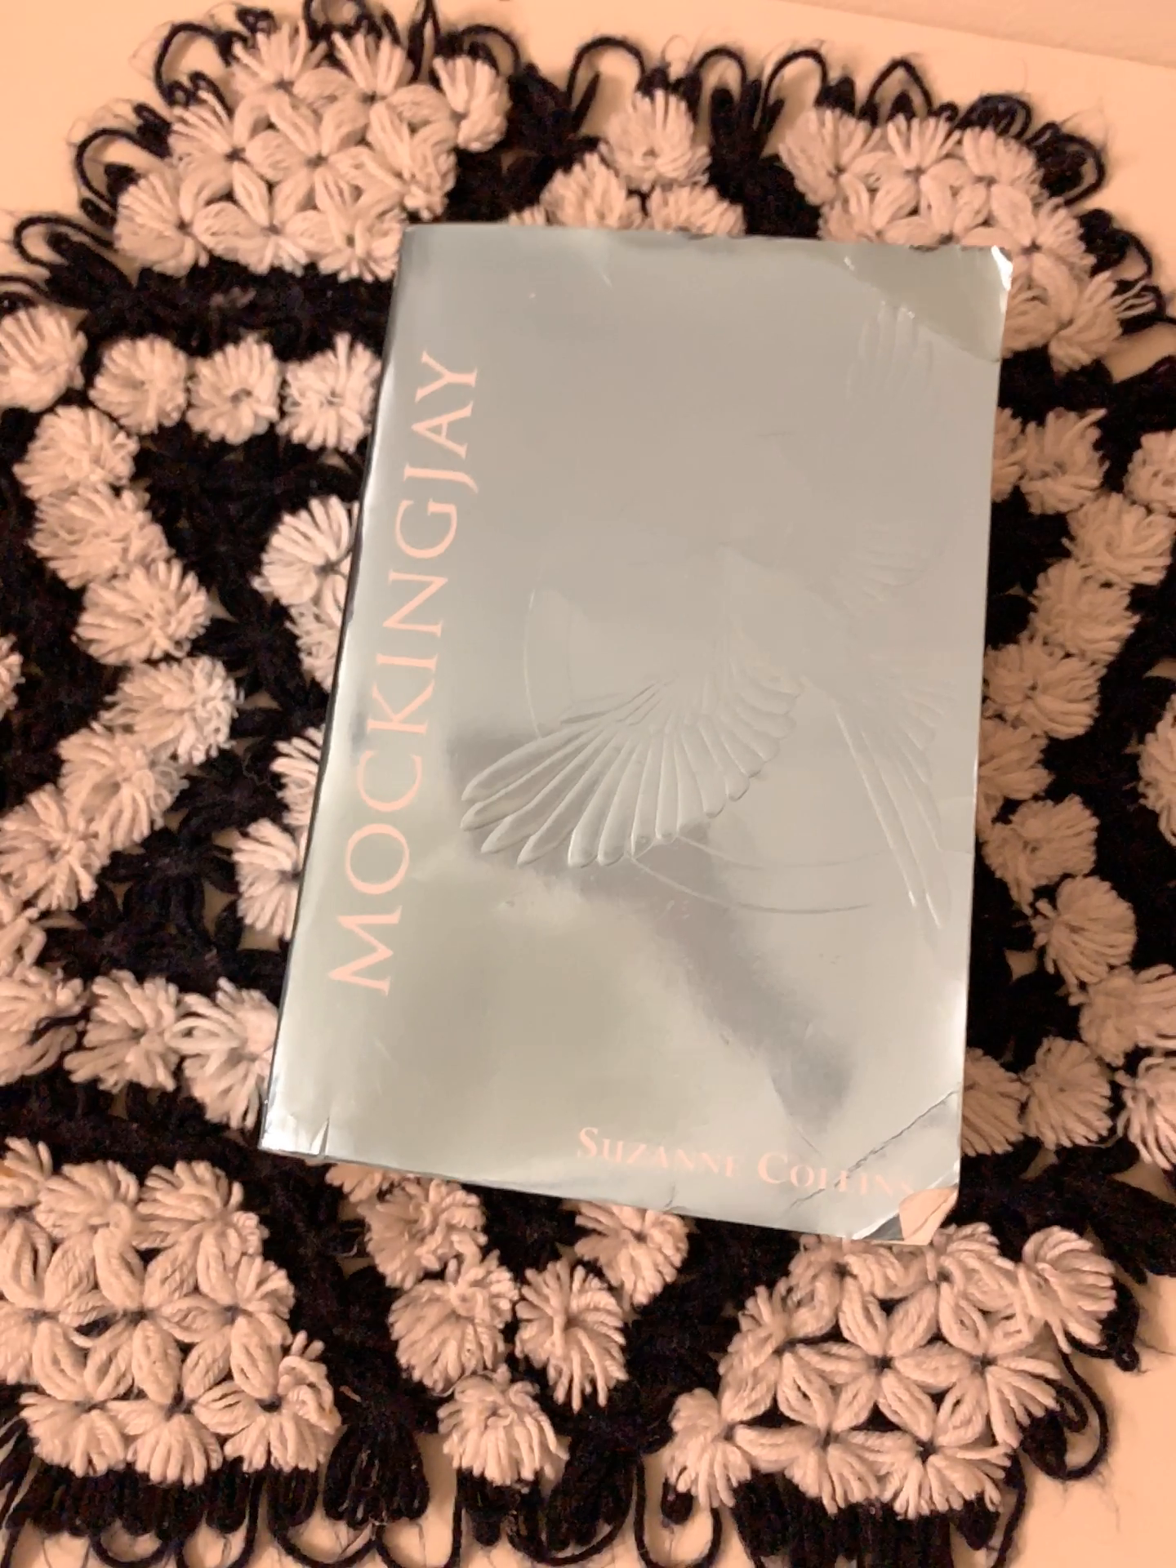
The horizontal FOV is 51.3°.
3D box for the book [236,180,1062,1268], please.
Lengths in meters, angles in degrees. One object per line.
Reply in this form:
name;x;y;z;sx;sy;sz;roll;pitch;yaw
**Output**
book;0.017;-0.015;0.246;0.136;0.036;0.193;7;79;-2
